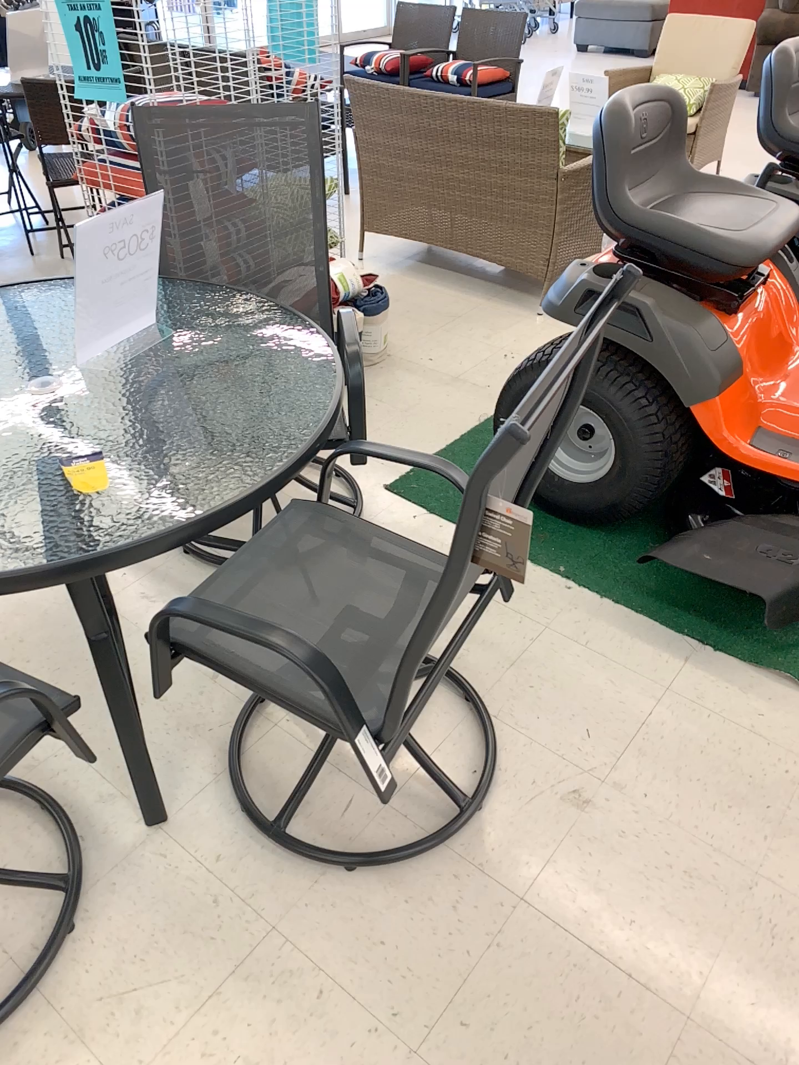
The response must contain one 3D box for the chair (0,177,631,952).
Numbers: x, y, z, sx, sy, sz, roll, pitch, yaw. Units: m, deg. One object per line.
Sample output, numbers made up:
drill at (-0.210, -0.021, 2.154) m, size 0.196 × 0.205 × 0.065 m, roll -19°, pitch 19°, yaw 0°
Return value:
chair at (-0.093, 0.044, 1.323) m, size 0.641 × 0.975 × 0.582 m, roll 16°, pitch 41°, yaw 20°
